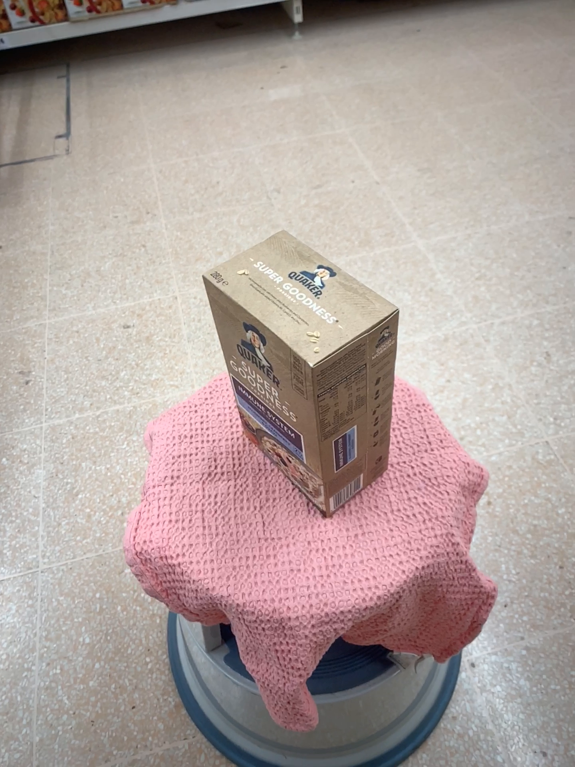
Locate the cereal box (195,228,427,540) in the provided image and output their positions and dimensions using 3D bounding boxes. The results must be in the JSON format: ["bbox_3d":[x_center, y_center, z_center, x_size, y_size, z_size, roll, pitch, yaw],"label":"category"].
[{"bbox_3d":[0.021,0.006,0.504,0.100,0.208,0.141,-34,54,-21],"label":"cereal box"}]
